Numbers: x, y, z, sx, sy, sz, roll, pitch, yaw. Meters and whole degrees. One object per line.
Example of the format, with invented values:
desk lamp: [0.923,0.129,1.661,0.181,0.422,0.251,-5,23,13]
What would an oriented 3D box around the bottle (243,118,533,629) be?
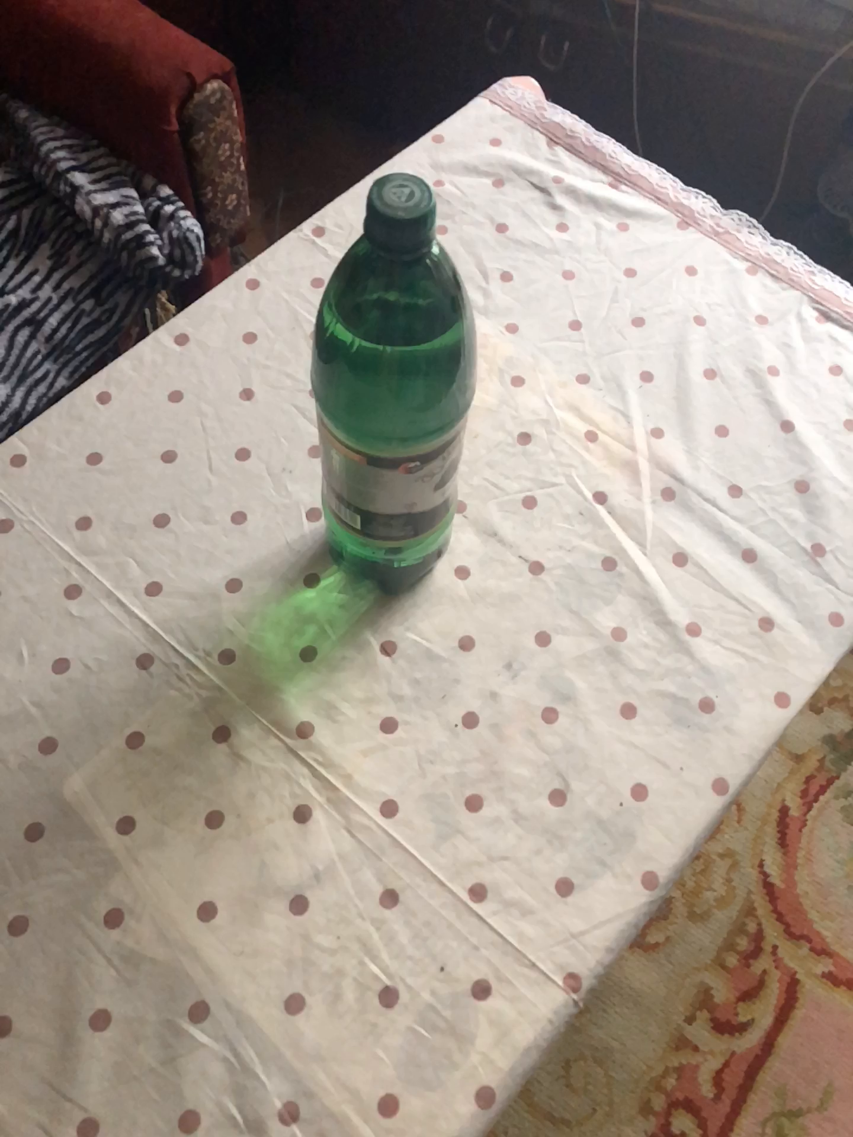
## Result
bottle: [-0.017,-0.075,0.493,0.100,0.279,0.100,1,63,-2]
